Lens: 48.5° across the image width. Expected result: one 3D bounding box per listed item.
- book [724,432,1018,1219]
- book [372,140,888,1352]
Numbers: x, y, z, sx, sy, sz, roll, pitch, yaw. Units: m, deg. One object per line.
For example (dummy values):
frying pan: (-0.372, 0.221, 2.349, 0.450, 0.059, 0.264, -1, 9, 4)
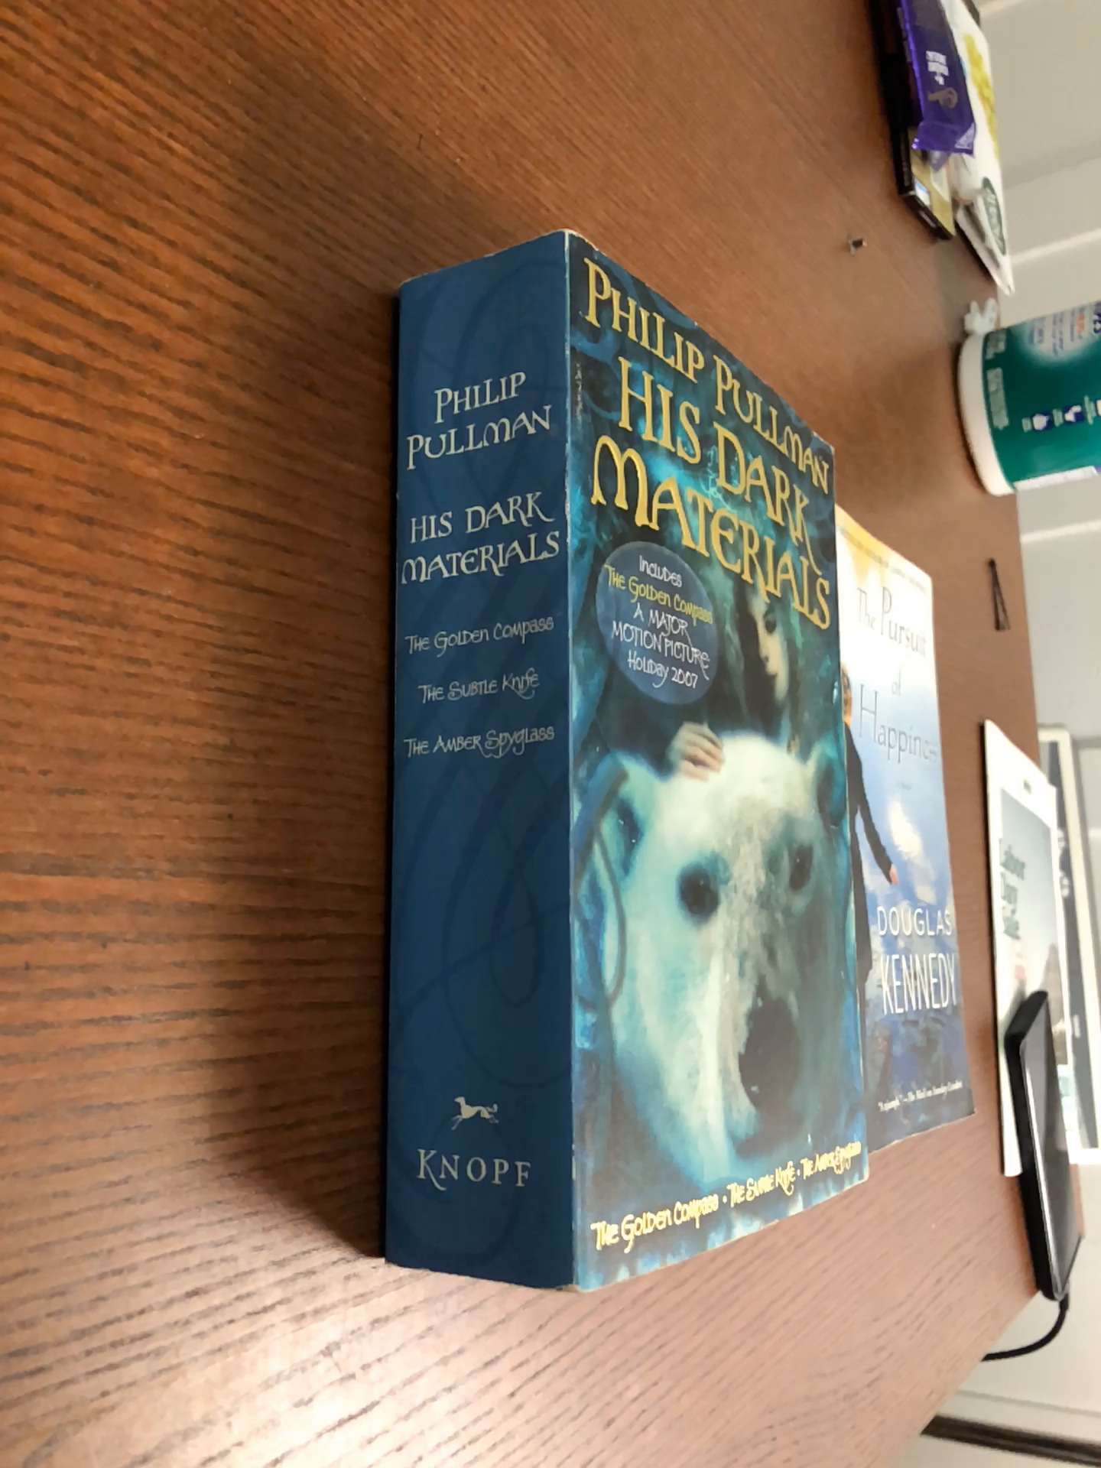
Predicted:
book: (0.129, 0.037, 0.472, 0.181, 0.040, 0.250, 15, 71, -56)
book: (0.032, 0.007, 0.336, 0.181, 0.050, 0.250, 15, 71, -56)
